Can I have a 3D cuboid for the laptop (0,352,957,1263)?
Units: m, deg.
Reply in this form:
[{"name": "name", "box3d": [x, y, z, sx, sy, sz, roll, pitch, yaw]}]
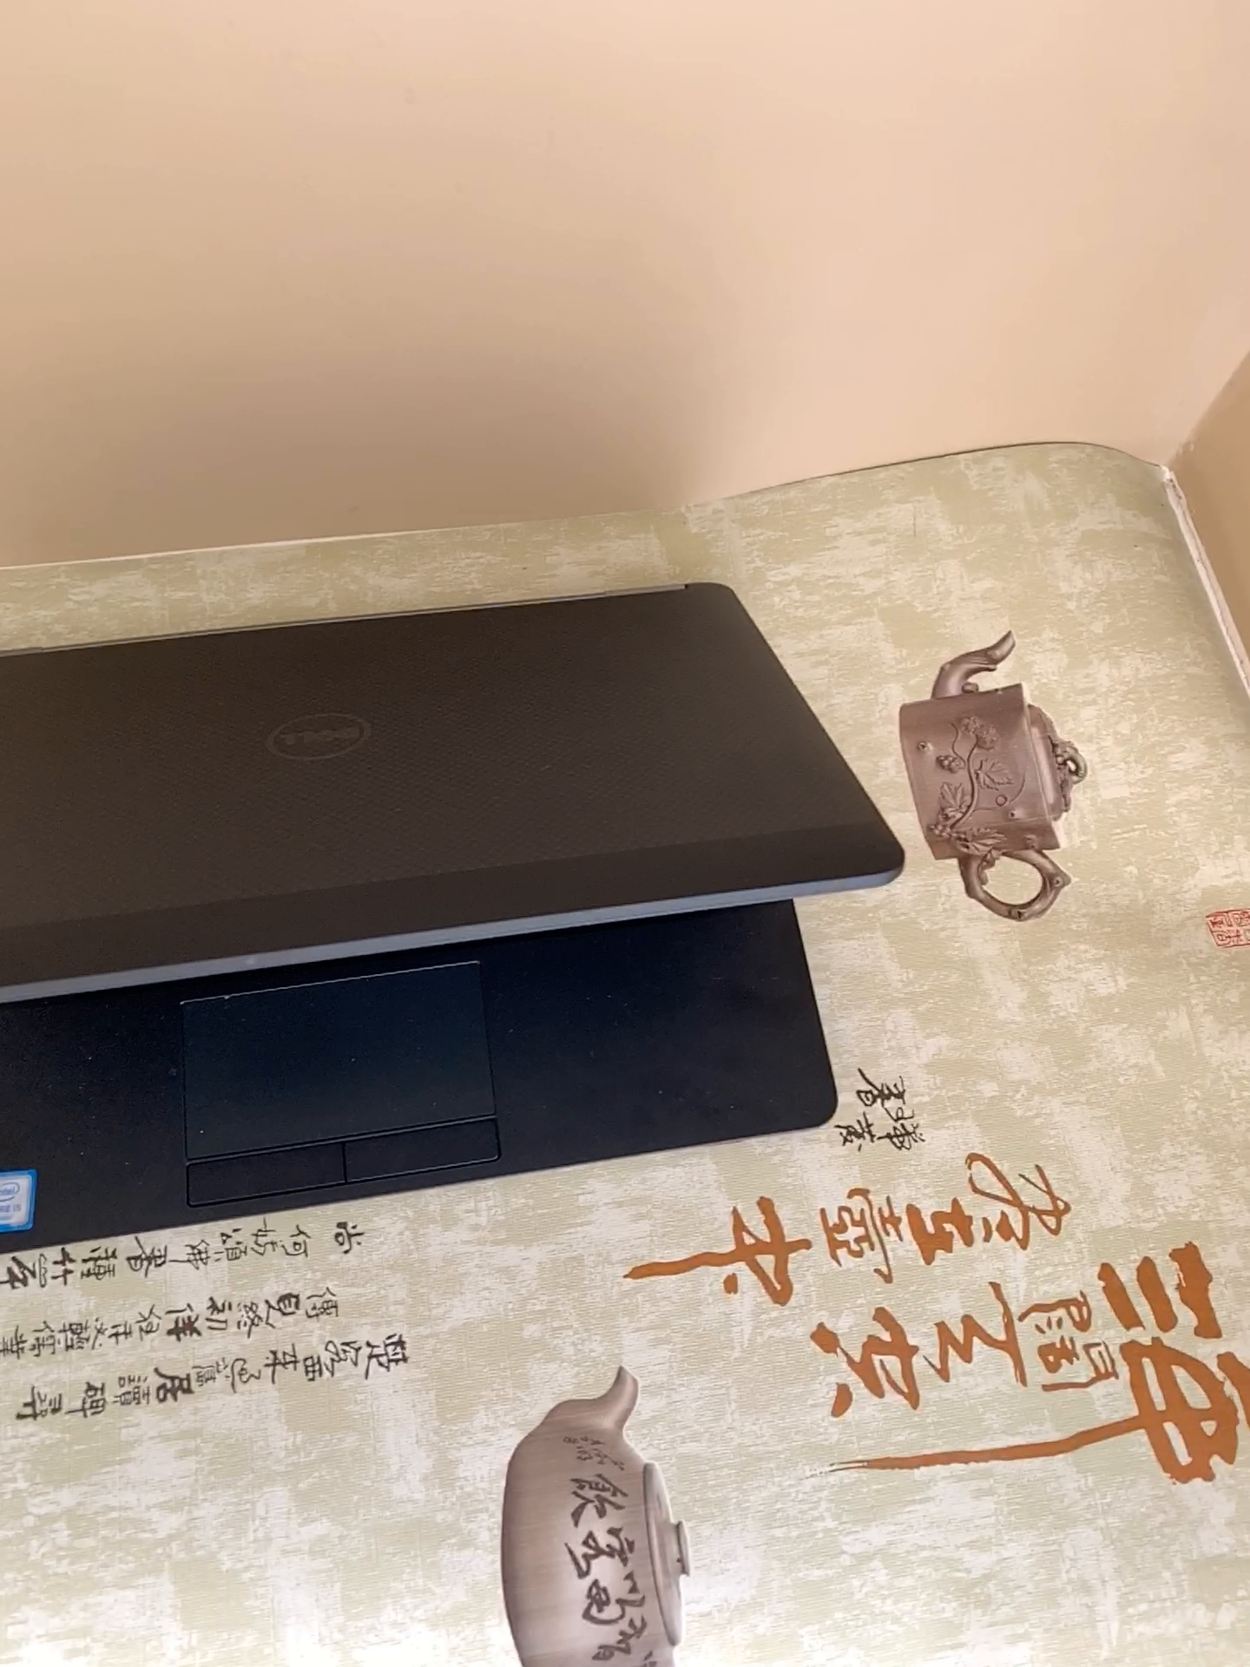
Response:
[{"name": "laptop", "box3d": [-0.093, -0.006, 0.396, 0.308, 0.136, 0.212, -7, 67, -6]}]
